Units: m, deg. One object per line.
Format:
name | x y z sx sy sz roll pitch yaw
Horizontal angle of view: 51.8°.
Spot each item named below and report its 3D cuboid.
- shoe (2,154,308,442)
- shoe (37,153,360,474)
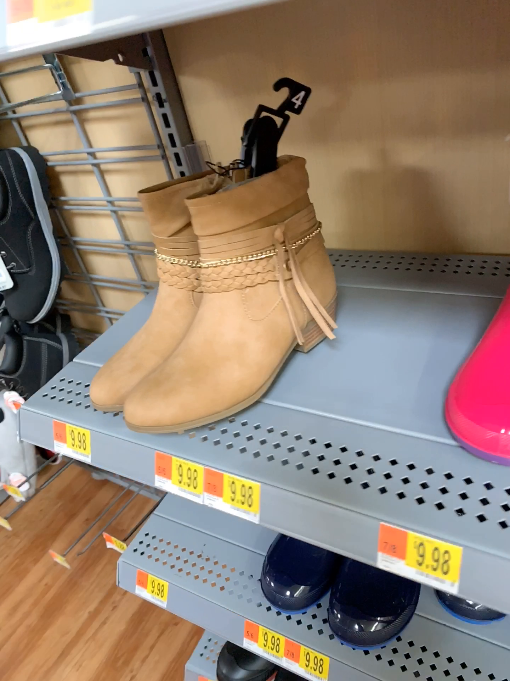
shoe | -0.077 -0.045 0.477 0.217 0.161 0.089 -30 37 -20
shoe | -0.025 -0.035 0.442 0.238 0.154 0.083 -37 40 -28
